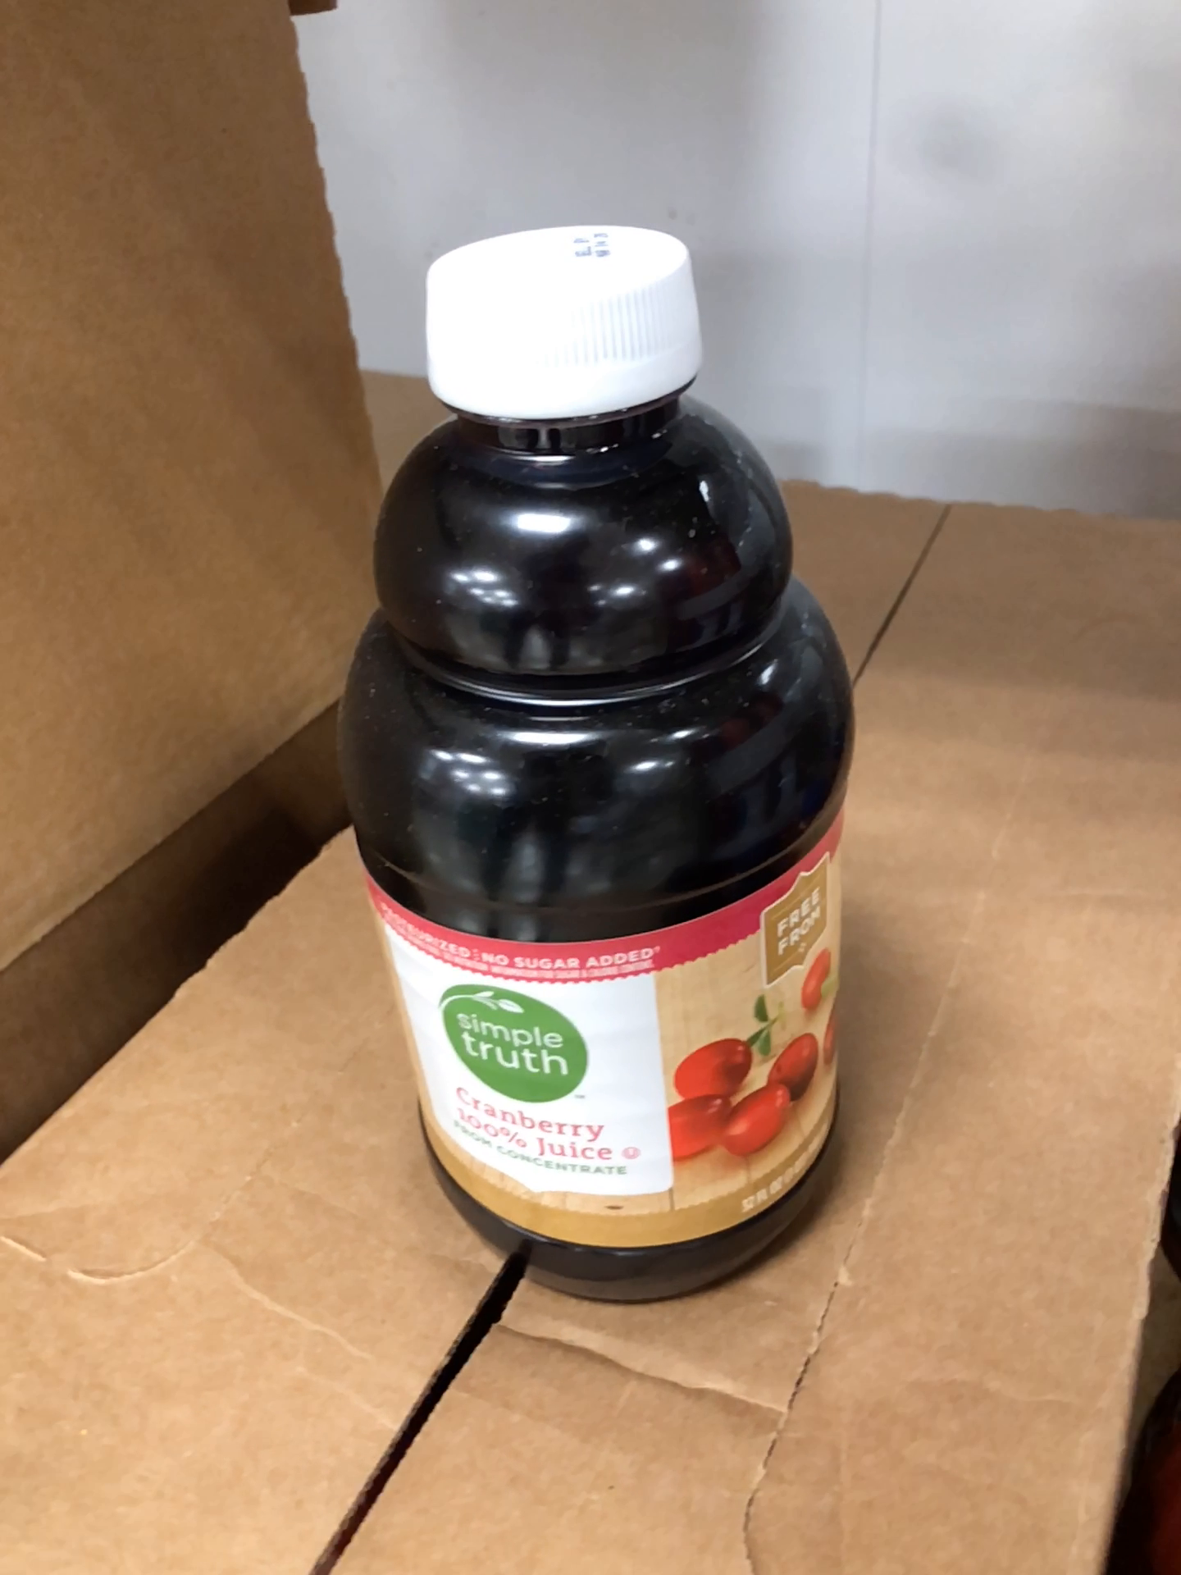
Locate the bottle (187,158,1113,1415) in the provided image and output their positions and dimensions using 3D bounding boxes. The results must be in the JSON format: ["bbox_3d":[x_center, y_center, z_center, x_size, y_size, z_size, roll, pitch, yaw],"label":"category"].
[{"bbox_3d":[0.008,0.003,0.255,0.110,0.199,0.100,-4,35,3],"label":"bottle"}]

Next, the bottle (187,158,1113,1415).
[{"bbox_3d":[0.008,0.003,0.255,0.110,0.199,0.100,-4,35,3],"label":"bottle"}]
